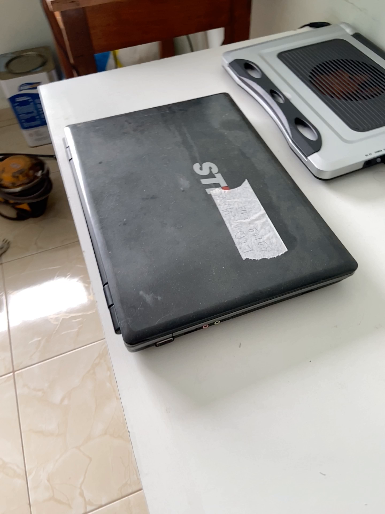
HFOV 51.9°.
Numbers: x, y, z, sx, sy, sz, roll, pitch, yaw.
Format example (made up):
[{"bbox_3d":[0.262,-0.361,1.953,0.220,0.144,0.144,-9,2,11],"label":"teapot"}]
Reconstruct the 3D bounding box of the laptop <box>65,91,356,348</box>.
[{"bbox_3d":[-0.007,-0.082,0.463,0.234,0.006,0.339,-16,54,-11],"label":"laptop"}]
